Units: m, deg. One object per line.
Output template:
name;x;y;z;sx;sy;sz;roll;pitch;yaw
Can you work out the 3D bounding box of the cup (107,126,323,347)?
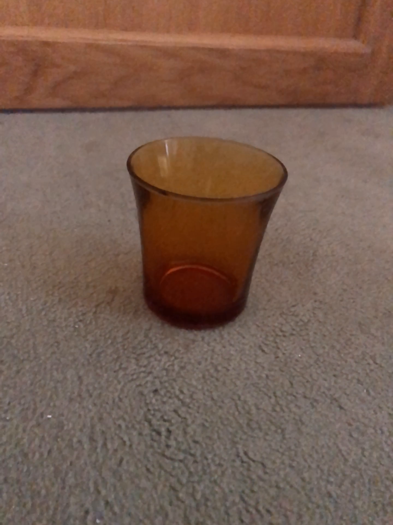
cup;0.002;-0.017;0.209;0.070;0.070;0.070;3;33;-2
